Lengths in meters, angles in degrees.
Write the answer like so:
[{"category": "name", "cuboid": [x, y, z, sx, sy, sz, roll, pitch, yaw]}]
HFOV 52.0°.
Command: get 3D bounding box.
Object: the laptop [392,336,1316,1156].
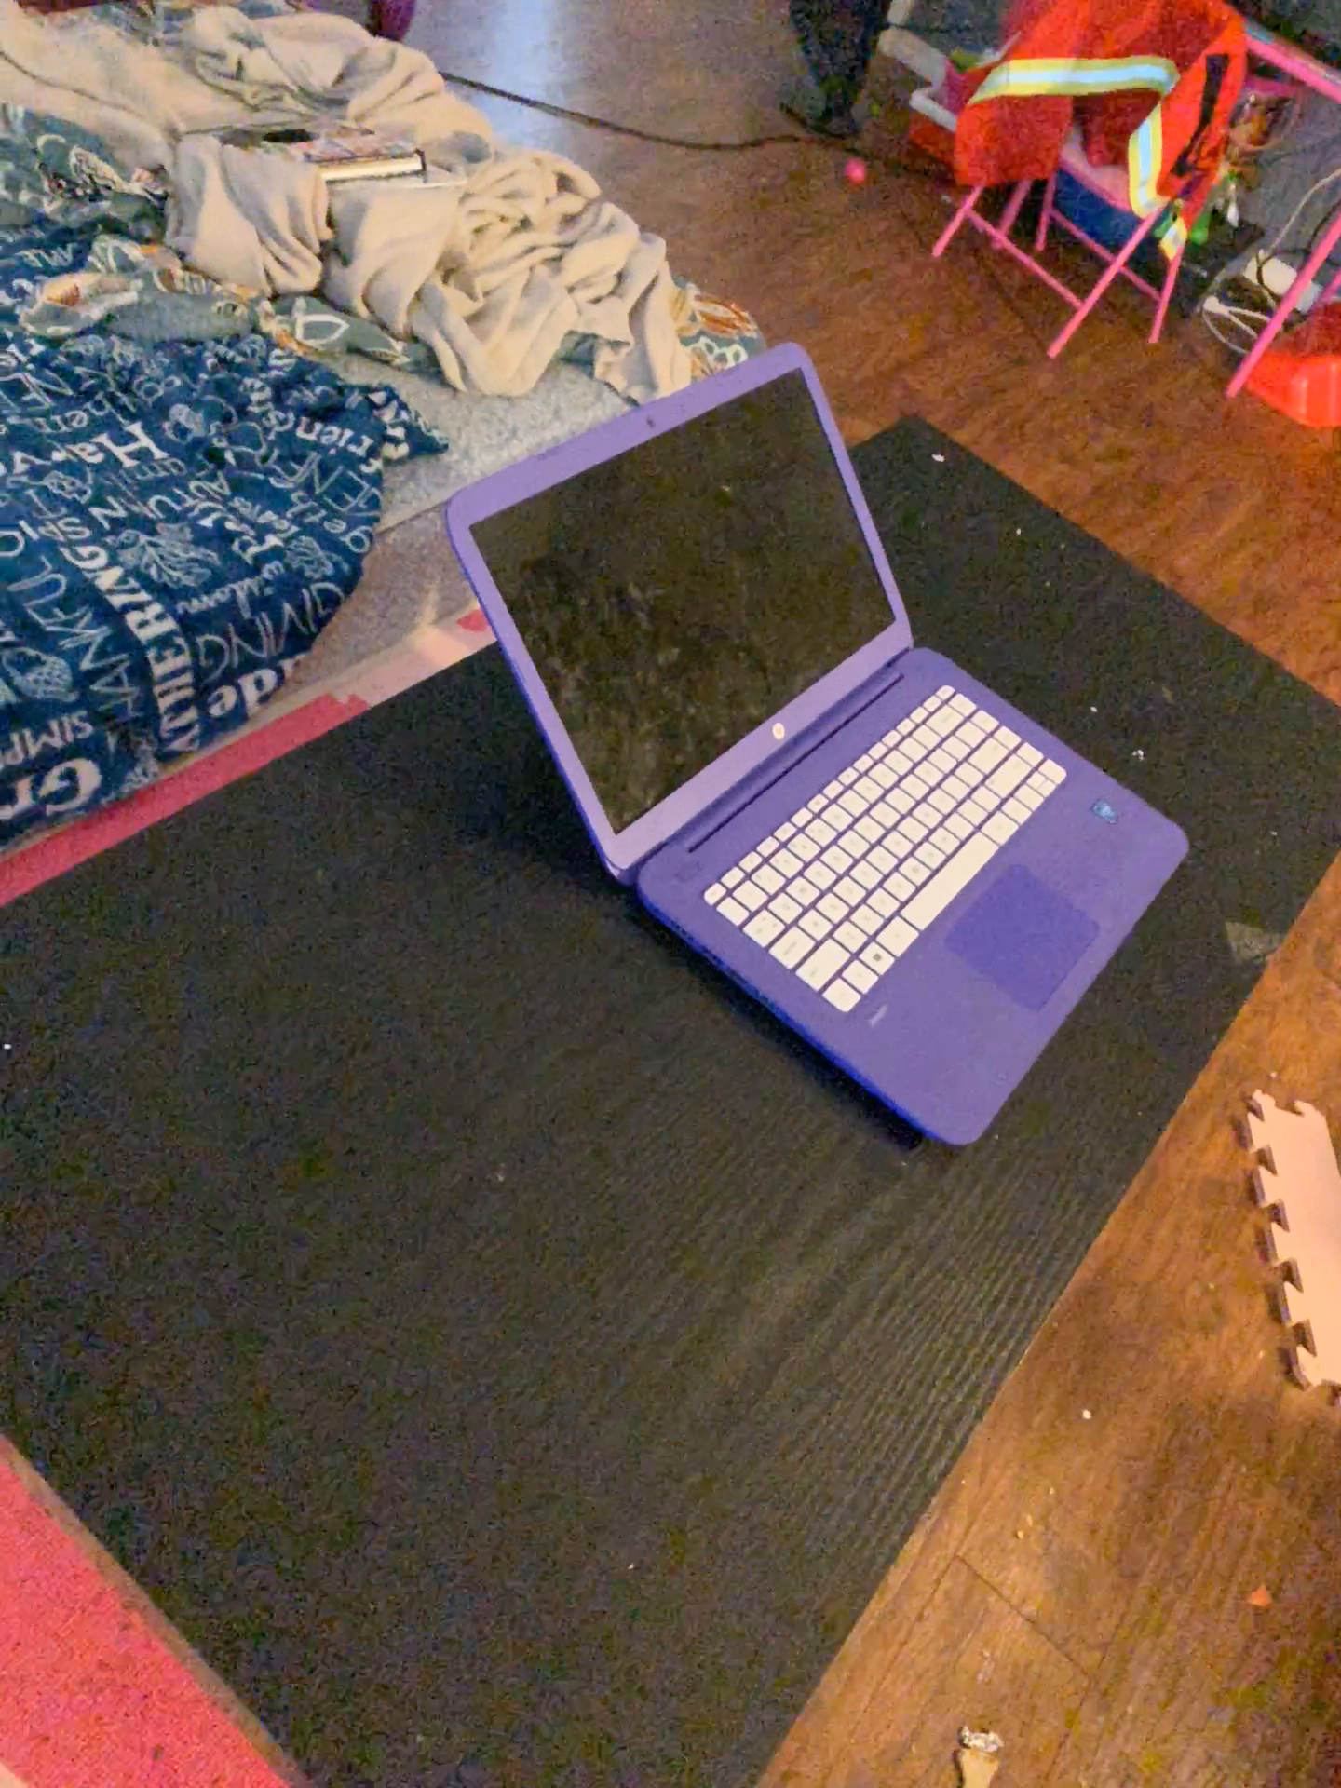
[{"category": "laptop", "cuboid": [0.111, -0.116, 0.795, 0.397, 0.132, 0.341, 40, 49, 13]}]
